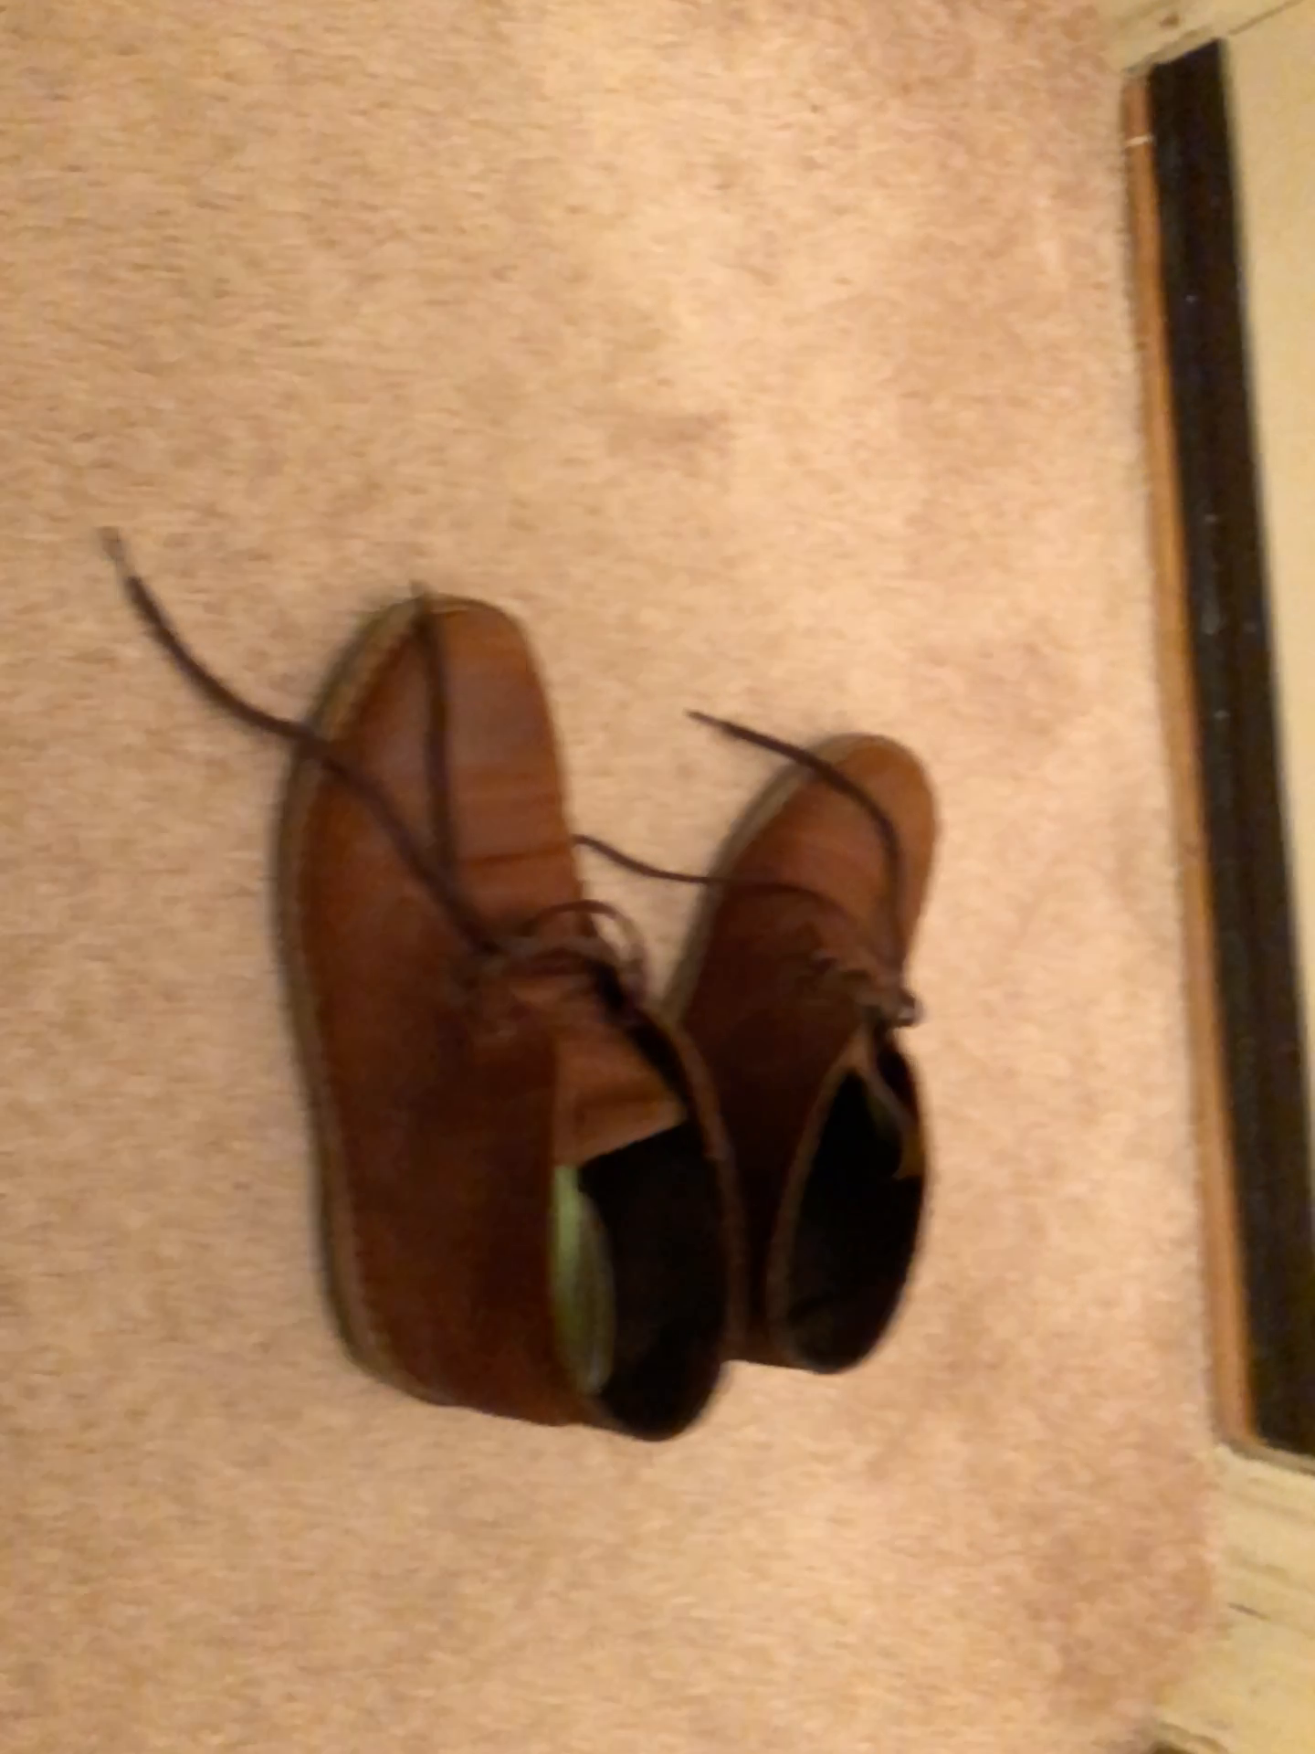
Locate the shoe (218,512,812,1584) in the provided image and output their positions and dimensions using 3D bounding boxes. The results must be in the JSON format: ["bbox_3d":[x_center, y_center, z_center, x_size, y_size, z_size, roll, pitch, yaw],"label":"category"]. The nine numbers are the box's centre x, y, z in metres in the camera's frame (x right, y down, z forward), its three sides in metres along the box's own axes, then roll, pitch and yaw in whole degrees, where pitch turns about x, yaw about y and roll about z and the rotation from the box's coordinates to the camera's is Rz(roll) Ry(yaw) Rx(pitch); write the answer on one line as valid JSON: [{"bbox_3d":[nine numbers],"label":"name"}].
[{"bbox_3d":[-0.051,0.046,0.496,0.111,0.139,0.303,-9,94,-37],"label":"shoe"}]

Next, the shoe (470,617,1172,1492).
[{"bbox_3d":[0.072,0.058,0.589,0.110,0.139,0.304,40,66,-29],"label":"shoe"}]
